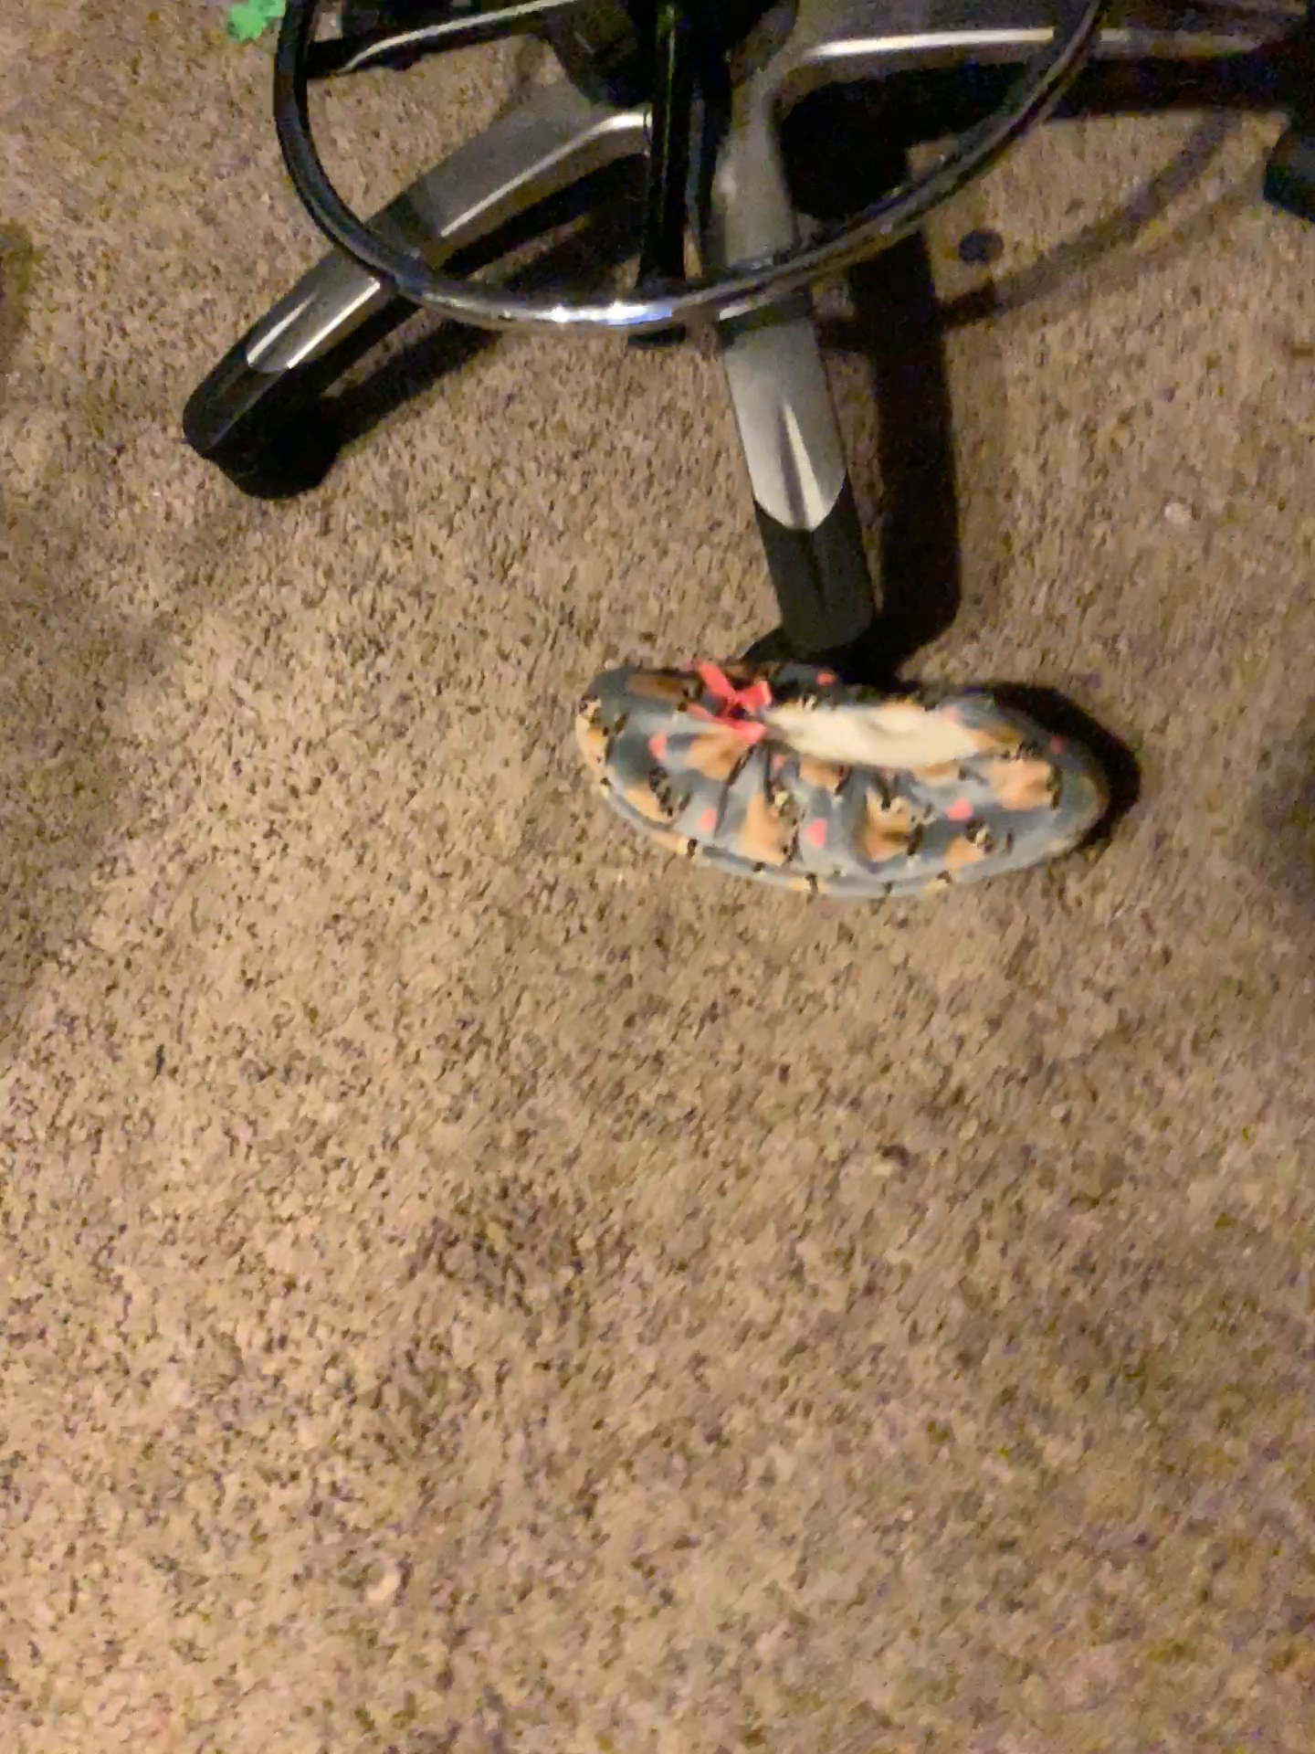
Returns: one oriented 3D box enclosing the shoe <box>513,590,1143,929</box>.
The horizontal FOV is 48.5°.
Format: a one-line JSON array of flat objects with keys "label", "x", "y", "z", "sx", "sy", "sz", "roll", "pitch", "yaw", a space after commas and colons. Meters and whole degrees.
[{"label": "shoe", "x": 0.079, "y": -0.057, "z": 0.666, "sx": 0.260, "sy": 0.070, "sz": 0.120, "roll": 5, "pitch": 71, "yaw": 19}]
